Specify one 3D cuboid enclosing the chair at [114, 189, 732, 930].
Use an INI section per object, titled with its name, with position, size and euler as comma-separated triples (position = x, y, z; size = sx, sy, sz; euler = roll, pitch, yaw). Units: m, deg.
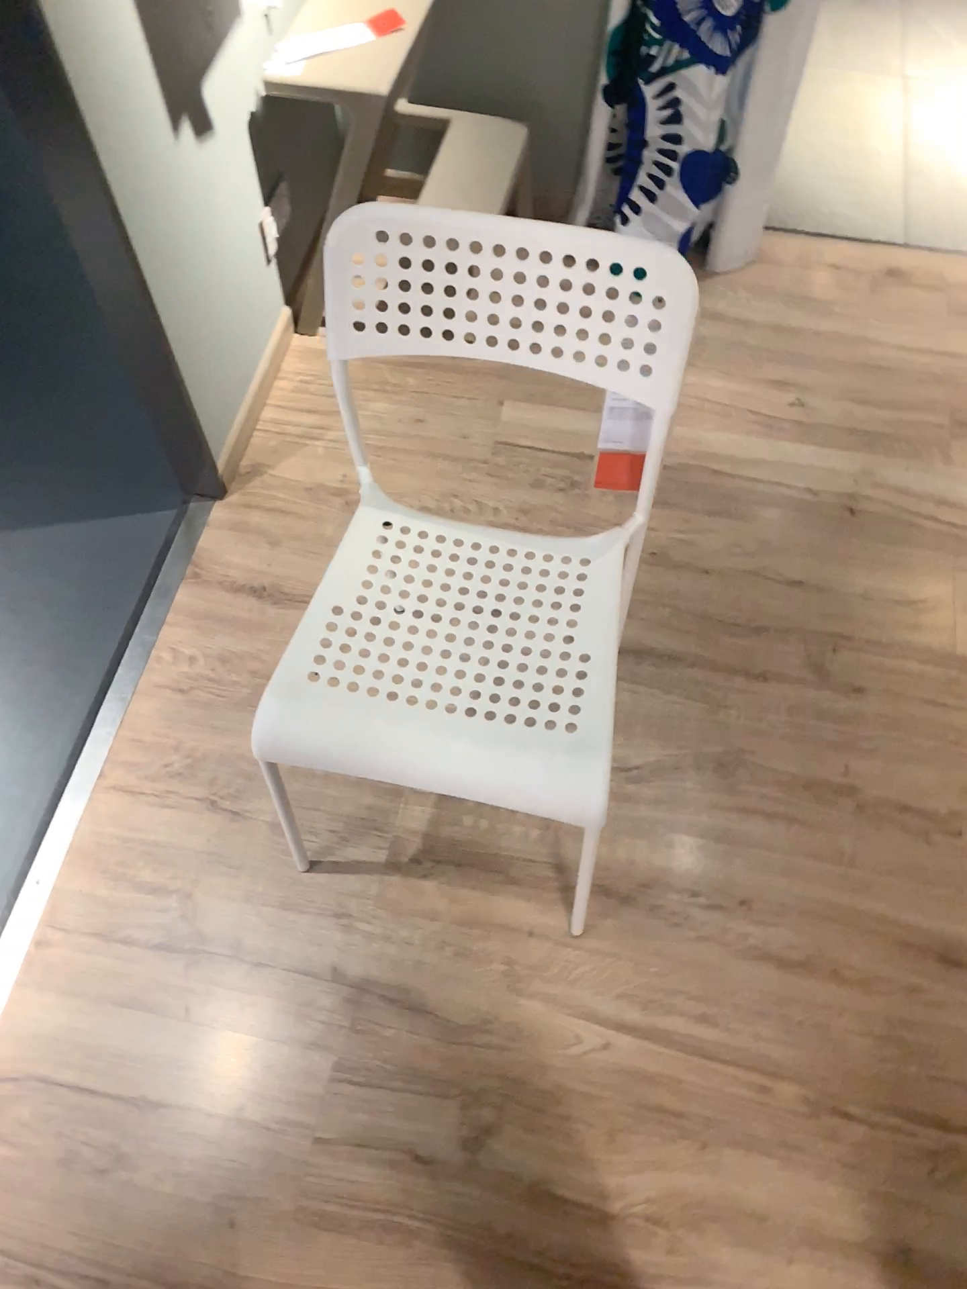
[chair]
position = -0.016, -0.053, 1.115
size = 0.430, 0.609, 0.531
euler = 9, 61, 6
